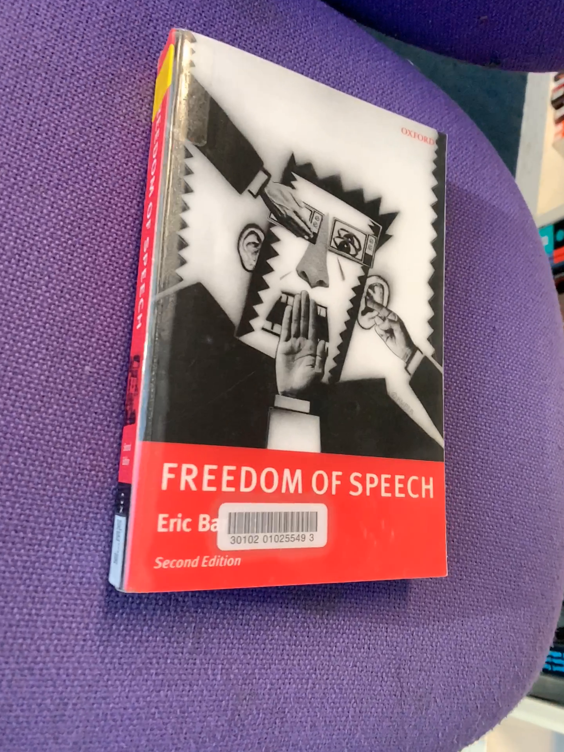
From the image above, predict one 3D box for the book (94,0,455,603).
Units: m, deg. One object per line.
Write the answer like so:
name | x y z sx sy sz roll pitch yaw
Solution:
book | 0.006 -0.030 0.288 0.161 0.050 0.250 8 77 -30
